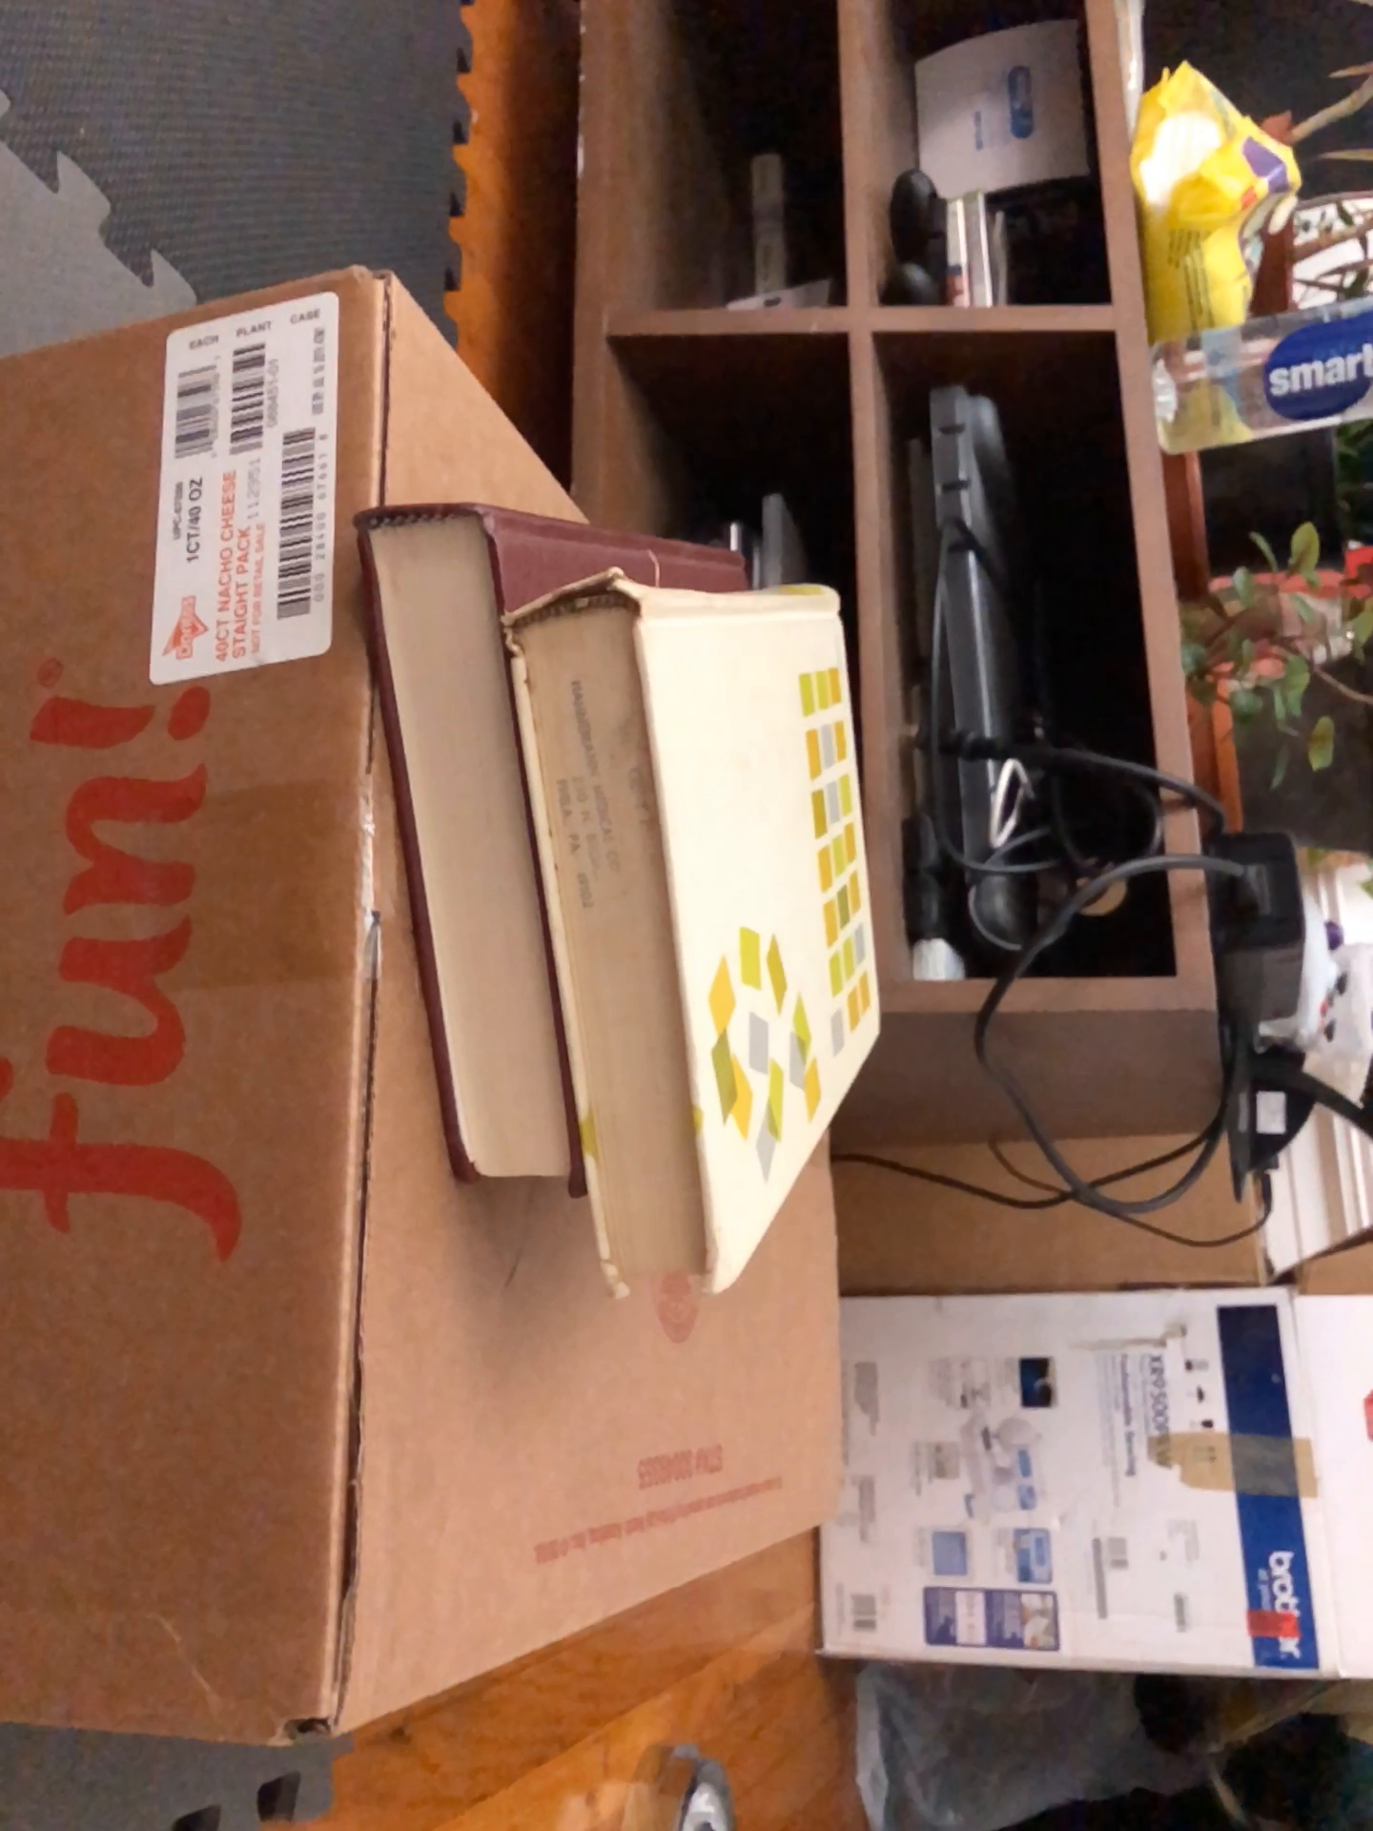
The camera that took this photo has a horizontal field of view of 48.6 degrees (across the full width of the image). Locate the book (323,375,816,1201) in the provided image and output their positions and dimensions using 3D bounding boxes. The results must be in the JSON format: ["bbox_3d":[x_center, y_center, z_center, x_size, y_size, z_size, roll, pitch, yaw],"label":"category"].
[{"bbox_3d":[-0.015,-0.043,0.458,0.251,0.040,0.180,-30,113,-72],"label":"book"}]

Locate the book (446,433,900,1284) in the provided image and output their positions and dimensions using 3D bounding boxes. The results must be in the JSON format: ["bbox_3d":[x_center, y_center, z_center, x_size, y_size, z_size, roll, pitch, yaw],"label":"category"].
[{"bbox_3d":[0.015,-0.032,0.442,0.251,0.040,0.180,-39,121,-71],"label":"book"}]
